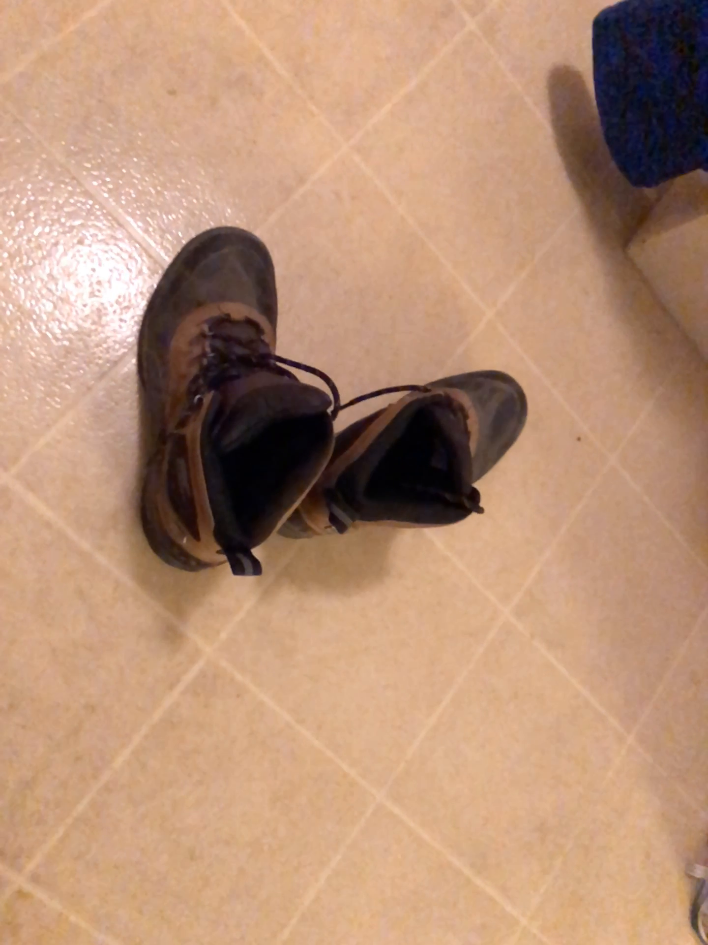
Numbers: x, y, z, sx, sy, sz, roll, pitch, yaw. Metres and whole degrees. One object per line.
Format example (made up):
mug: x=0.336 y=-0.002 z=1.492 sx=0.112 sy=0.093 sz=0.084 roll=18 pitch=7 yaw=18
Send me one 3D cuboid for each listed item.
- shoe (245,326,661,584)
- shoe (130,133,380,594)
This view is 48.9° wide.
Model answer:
shoe: x=0.083 y=-0.018 z=0.687 sx=0.293 sy=0.186 sz=0.113 roll=-21 pitch=96 yaw=-25
shoe: x=-0.085 y=-0.065 z=0.612 sx=0.122 sy=0.186 sz=0.299 roll=6 pitch=84 yaw=-25
